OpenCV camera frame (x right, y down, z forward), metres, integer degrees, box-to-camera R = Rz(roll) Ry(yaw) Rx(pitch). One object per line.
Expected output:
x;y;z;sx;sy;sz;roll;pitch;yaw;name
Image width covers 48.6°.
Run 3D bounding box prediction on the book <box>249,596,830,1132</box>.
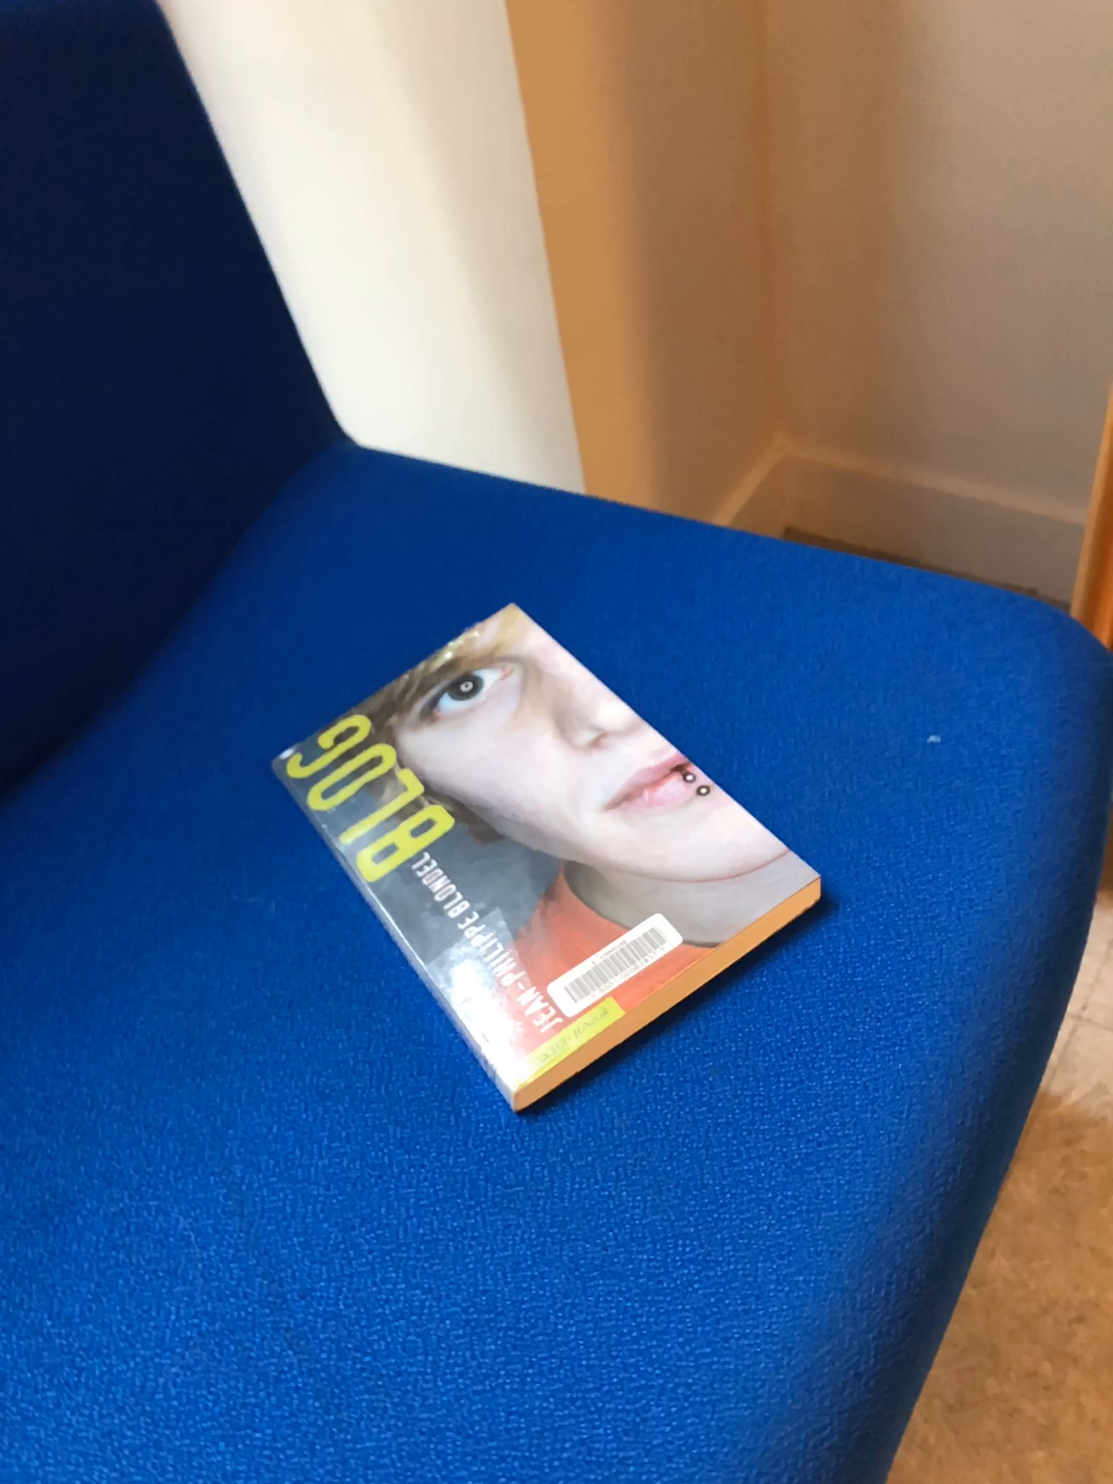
-0.018;0.031;0.504;0.142;0.018;0.221;-31;47;-16;book
